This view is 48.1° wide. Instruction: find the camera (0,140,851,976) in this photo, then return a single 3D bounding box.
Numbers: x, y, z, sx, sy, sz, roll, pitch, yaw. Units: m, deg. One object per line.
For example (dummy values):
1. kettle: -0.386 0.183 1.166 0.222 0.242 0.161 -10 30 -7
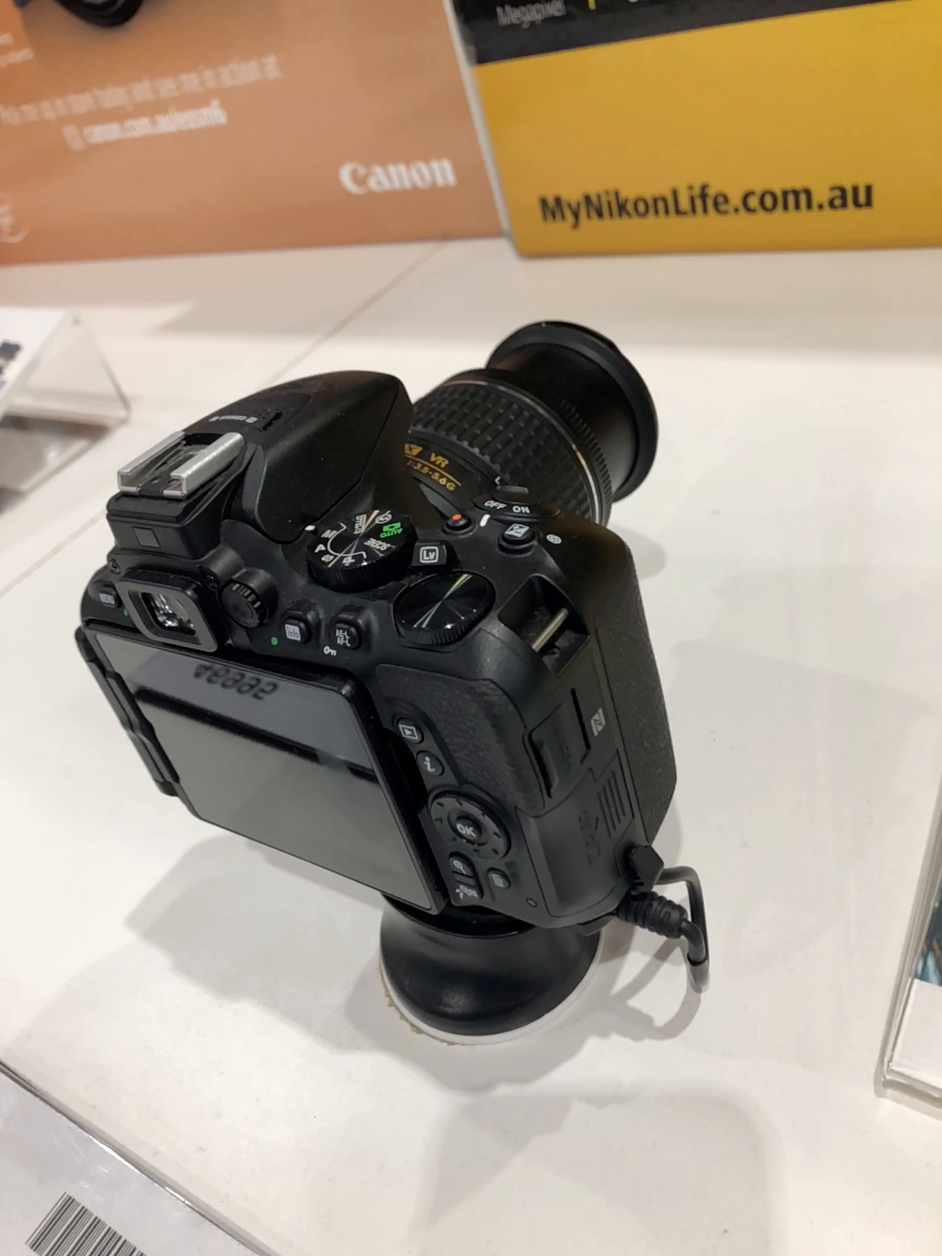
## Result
1. camera: -0.001 -0.032 0.256 0.128 0.096 0.163 12 46 35
